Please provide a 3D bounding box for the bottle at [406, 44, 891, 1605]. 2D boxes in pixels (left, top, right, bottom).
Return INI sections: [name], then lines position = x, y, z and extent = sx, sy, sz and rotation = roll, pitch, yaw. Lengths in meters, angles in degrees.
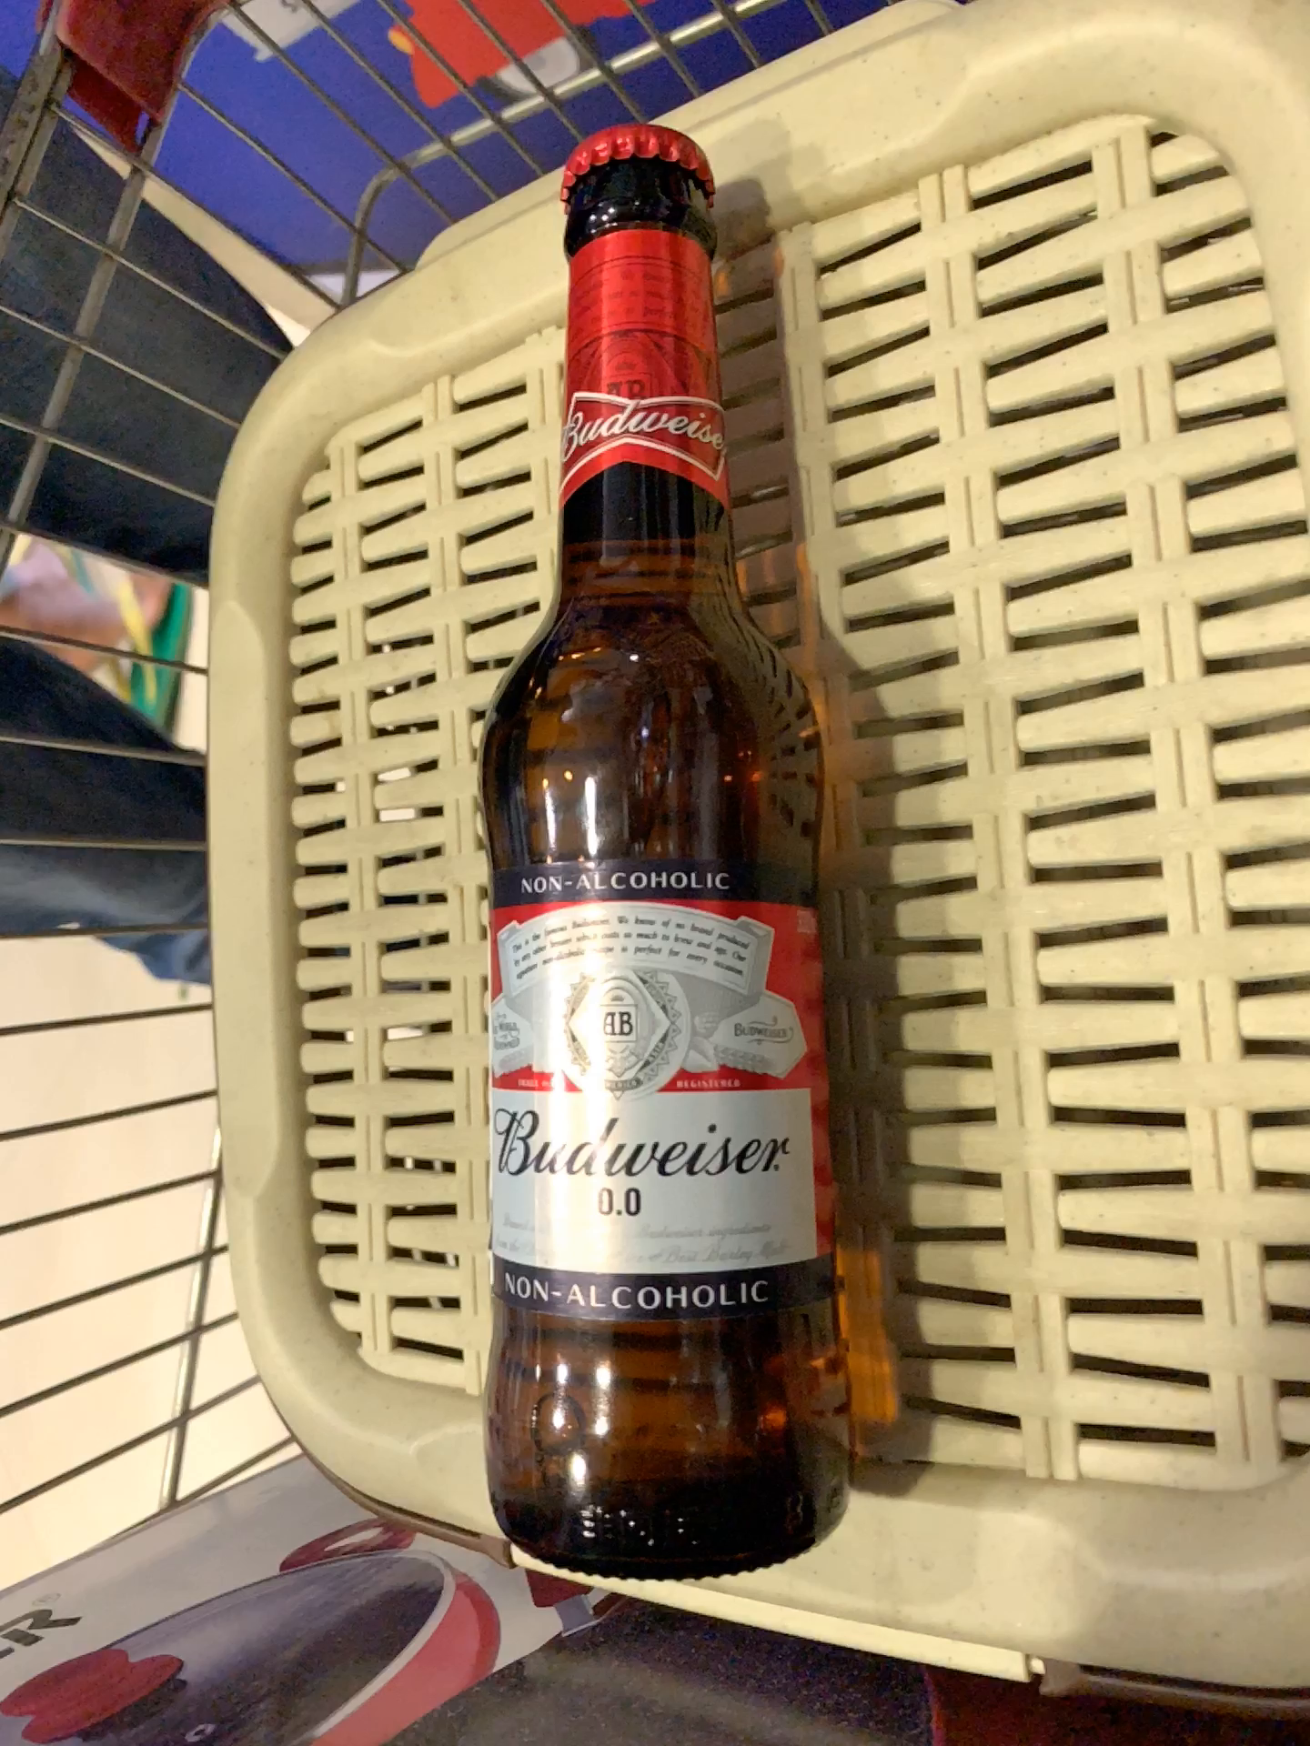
[bottle]
position = 0.001, -0.008, 0.226
extent = 0.060, 0.060, 0.220
rotation = -3, 85, 16
